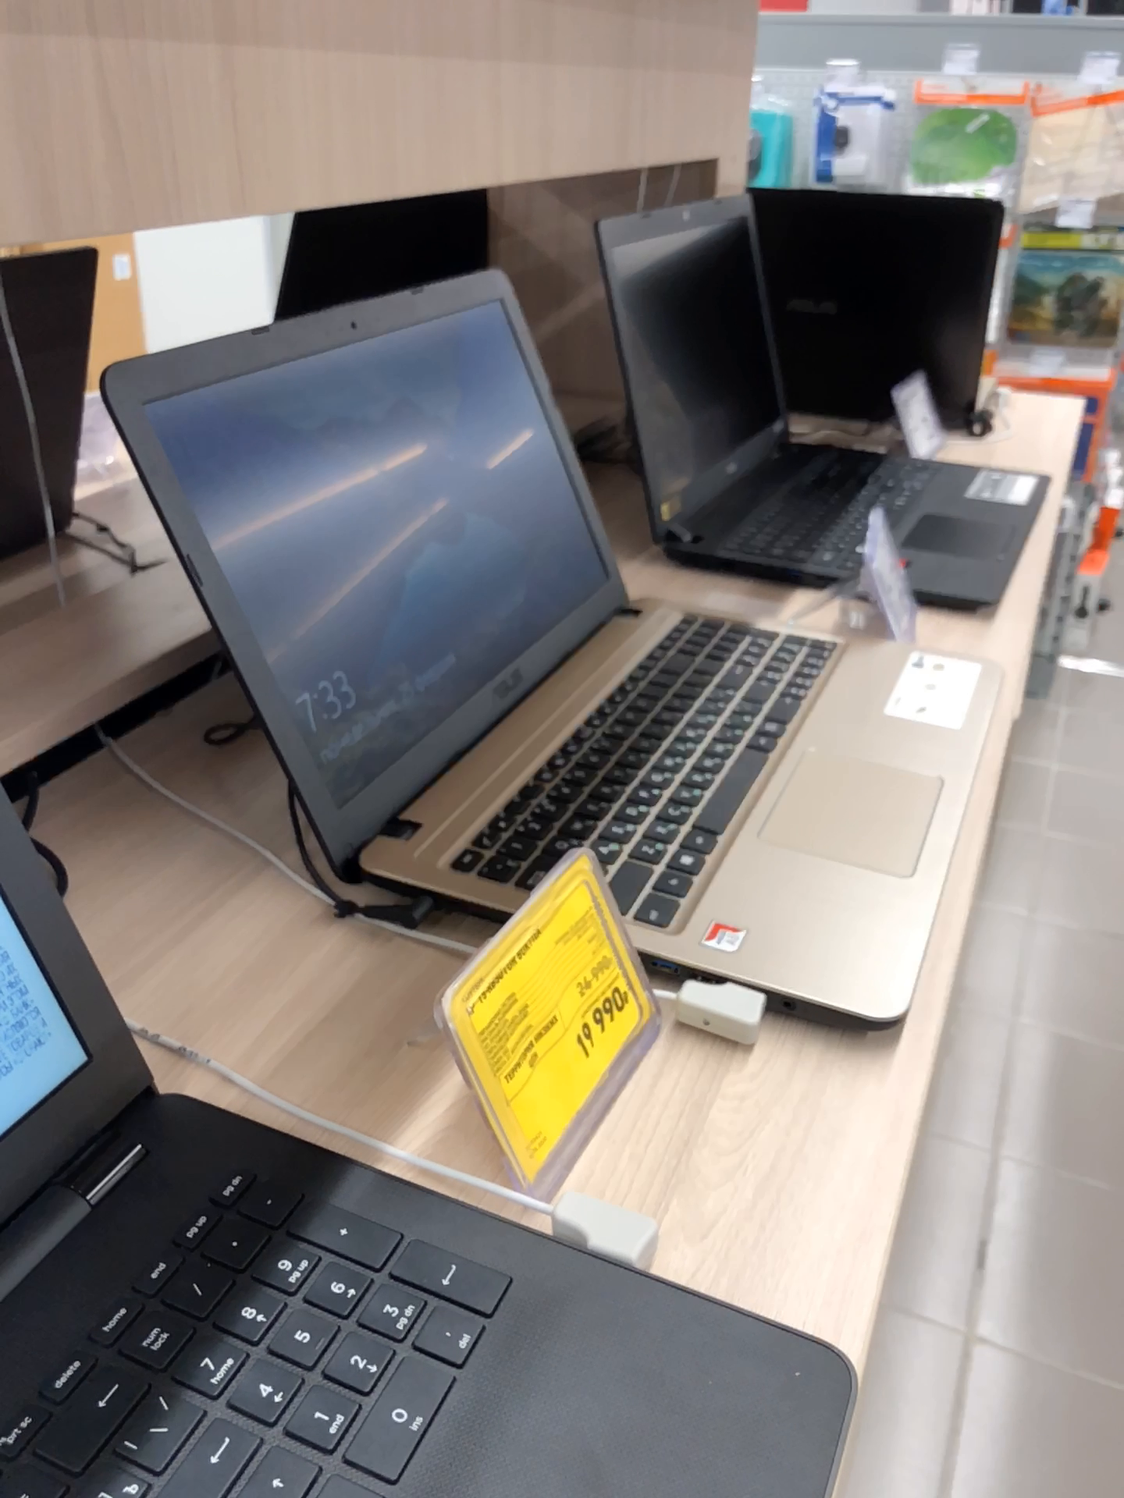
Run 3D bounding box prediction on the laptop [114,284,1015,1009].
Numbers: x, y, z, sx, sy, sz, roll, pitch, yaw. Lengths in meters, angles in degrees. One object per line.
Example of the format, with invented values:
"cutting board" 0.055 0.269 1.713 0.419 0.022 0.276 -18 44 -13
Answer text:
"laptop" 0.034 -0.104 0.669 0.350 0.208 0.368 13 28 18
